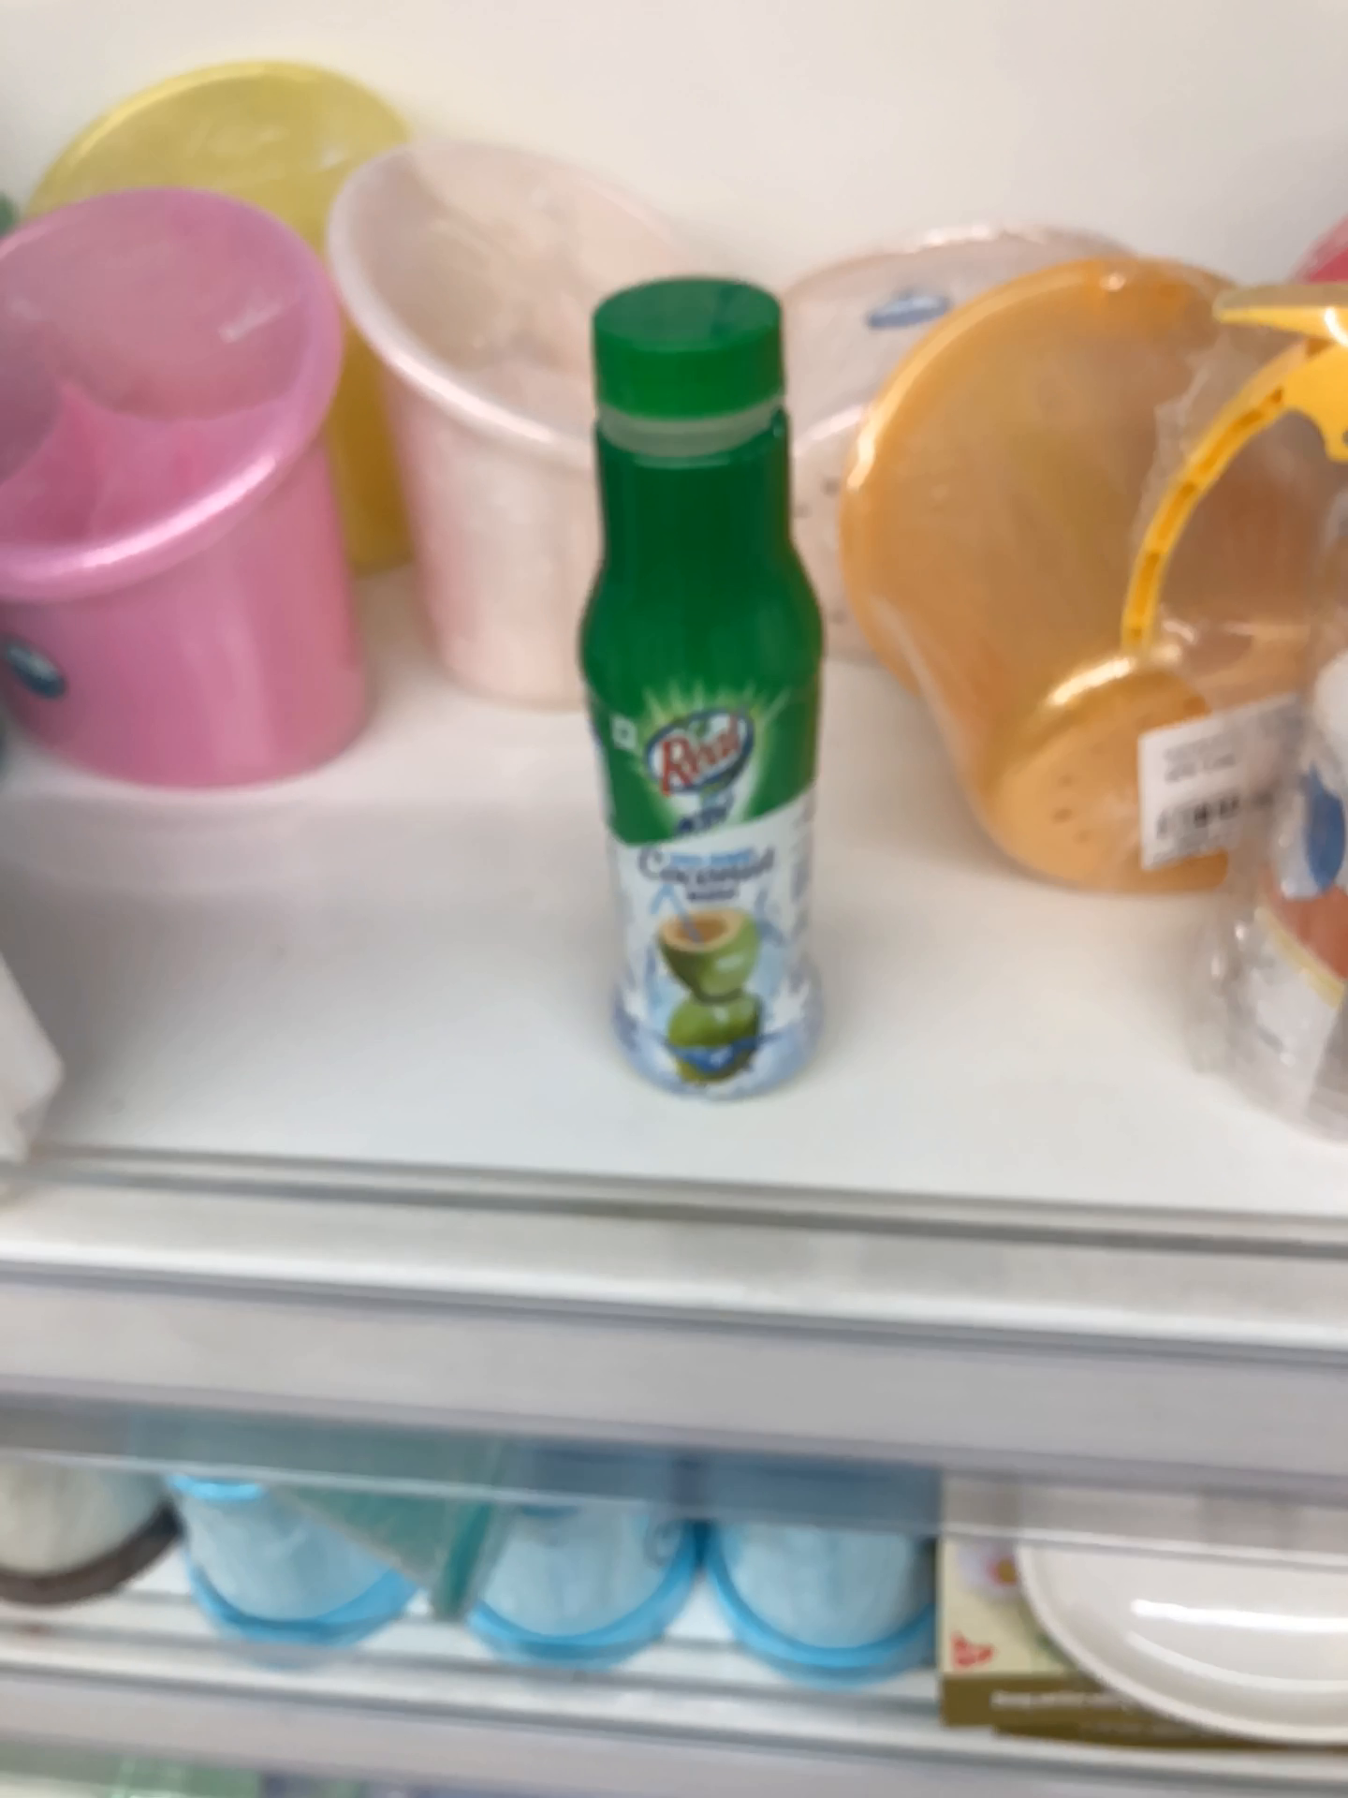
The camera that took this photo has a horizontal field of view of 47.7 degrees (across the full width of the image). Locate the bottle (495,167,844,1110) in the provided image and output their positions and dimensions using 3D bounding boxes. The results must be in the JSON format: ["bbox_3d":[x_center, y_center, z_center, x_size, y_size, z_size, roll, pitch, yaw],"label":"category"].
[{"bbox_3d":[0.002,-0.038,0.297,0.050,0.179,0.050,-2,43,2],"label":"bottle"}]
